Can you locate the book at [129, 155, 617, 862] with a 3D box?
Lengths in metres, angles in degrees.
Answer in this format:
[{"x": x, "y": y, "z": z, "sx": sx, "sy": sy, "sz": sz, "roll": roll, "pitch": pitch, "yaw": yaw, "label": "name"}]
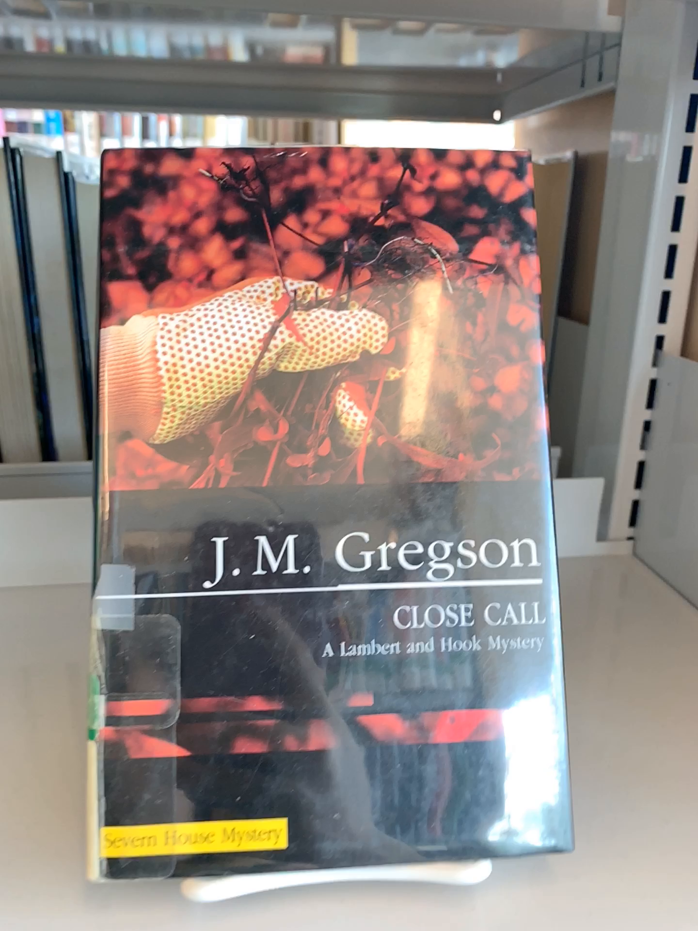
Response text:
[{"x": 0.004, "y": 0.007, "z": 0.234, "sx": 0.140, "sy": 0.208, "sz": 0.030, "roll": -1, "pitch": -6, "yaw": -4, "label": "book"}]
